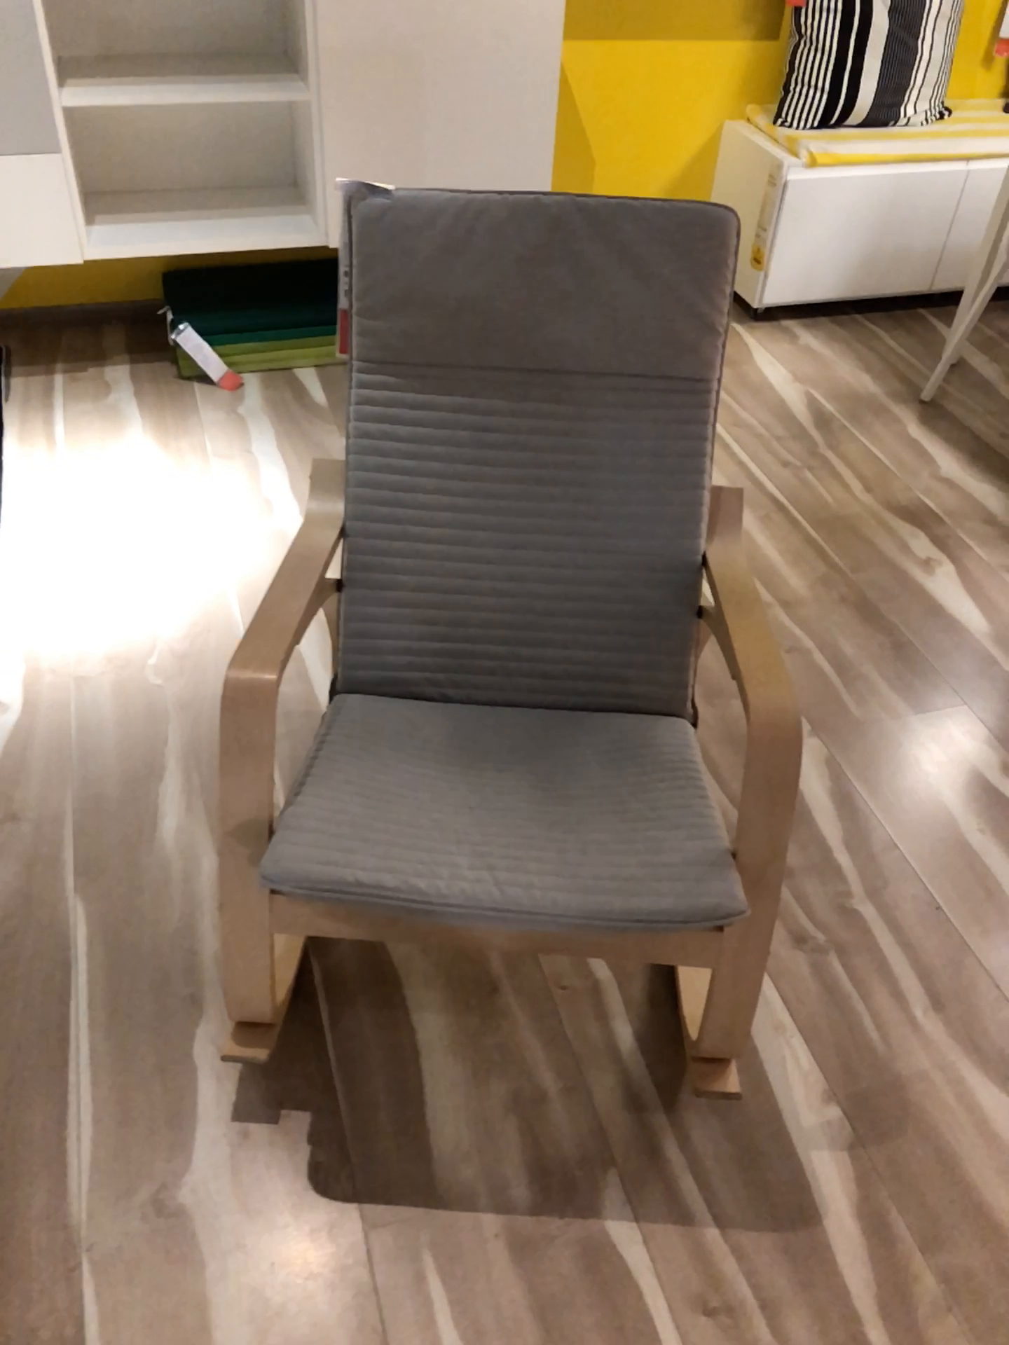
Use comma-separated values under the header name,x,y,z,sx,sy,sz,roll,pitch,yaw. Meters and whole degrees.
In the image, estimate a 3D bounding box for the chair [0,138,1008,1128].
name,x,y,z,sx,sy,sz,roll,pitch,yaw
chair,-0.006,-0.027,1.368,0.750,0.943,0.705,4,41,0
